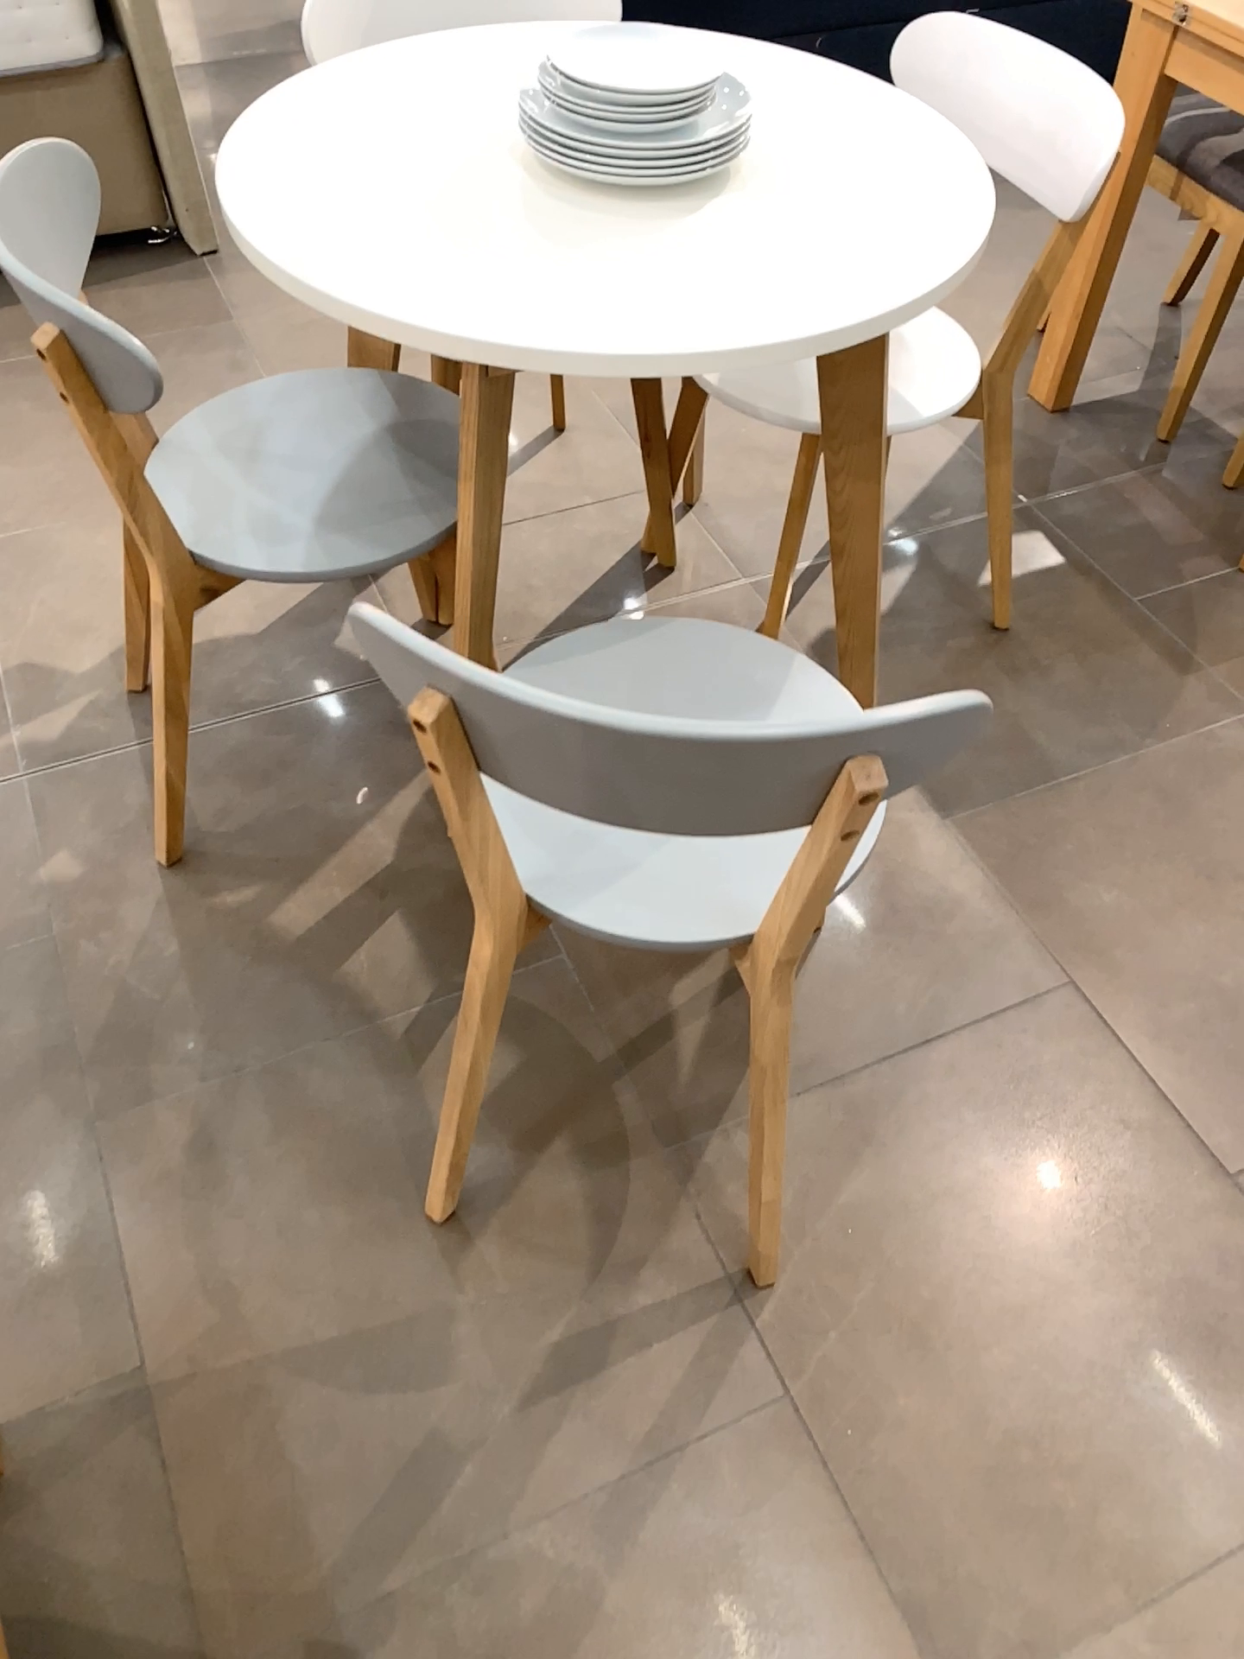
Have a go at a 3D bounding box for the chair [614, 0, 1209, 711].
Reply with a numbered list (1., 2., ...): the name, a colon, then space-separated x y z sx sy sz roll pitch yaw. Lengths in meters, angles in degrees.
1. chair: 0.348 -0.706 1.908 0.541 0.799 0.523 -16 51 -16

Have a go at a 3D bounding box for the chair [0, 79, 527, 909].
1. chair: -0.479 -0.415 1.643 0.541 0.799 0.523 -17 52 -17

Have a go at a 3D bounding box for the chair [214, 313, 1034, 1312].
1. chair: 0.025 0.023 1.263 0.519 0.799 0.535 8 49 5
